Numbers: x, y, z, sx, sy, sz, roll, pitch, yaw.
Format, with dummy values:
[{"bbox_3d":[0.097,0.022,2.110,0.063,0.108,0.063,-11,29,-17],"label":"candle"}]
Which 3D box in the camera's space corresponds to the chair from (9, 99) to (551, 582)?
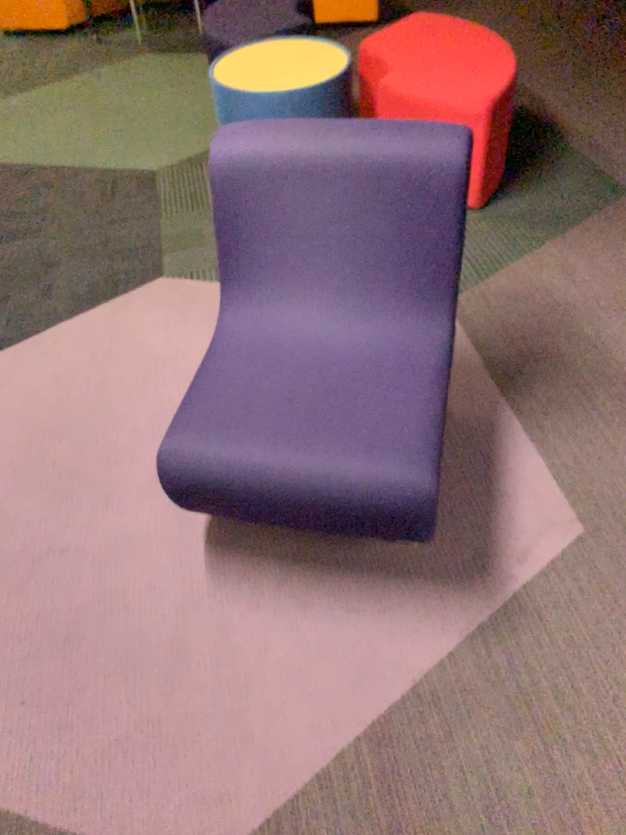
[{"bbox_3d":[0.027,-0.218,1.415,0.801,0.614,0.827,5,46,12],"label":"chair"}]
